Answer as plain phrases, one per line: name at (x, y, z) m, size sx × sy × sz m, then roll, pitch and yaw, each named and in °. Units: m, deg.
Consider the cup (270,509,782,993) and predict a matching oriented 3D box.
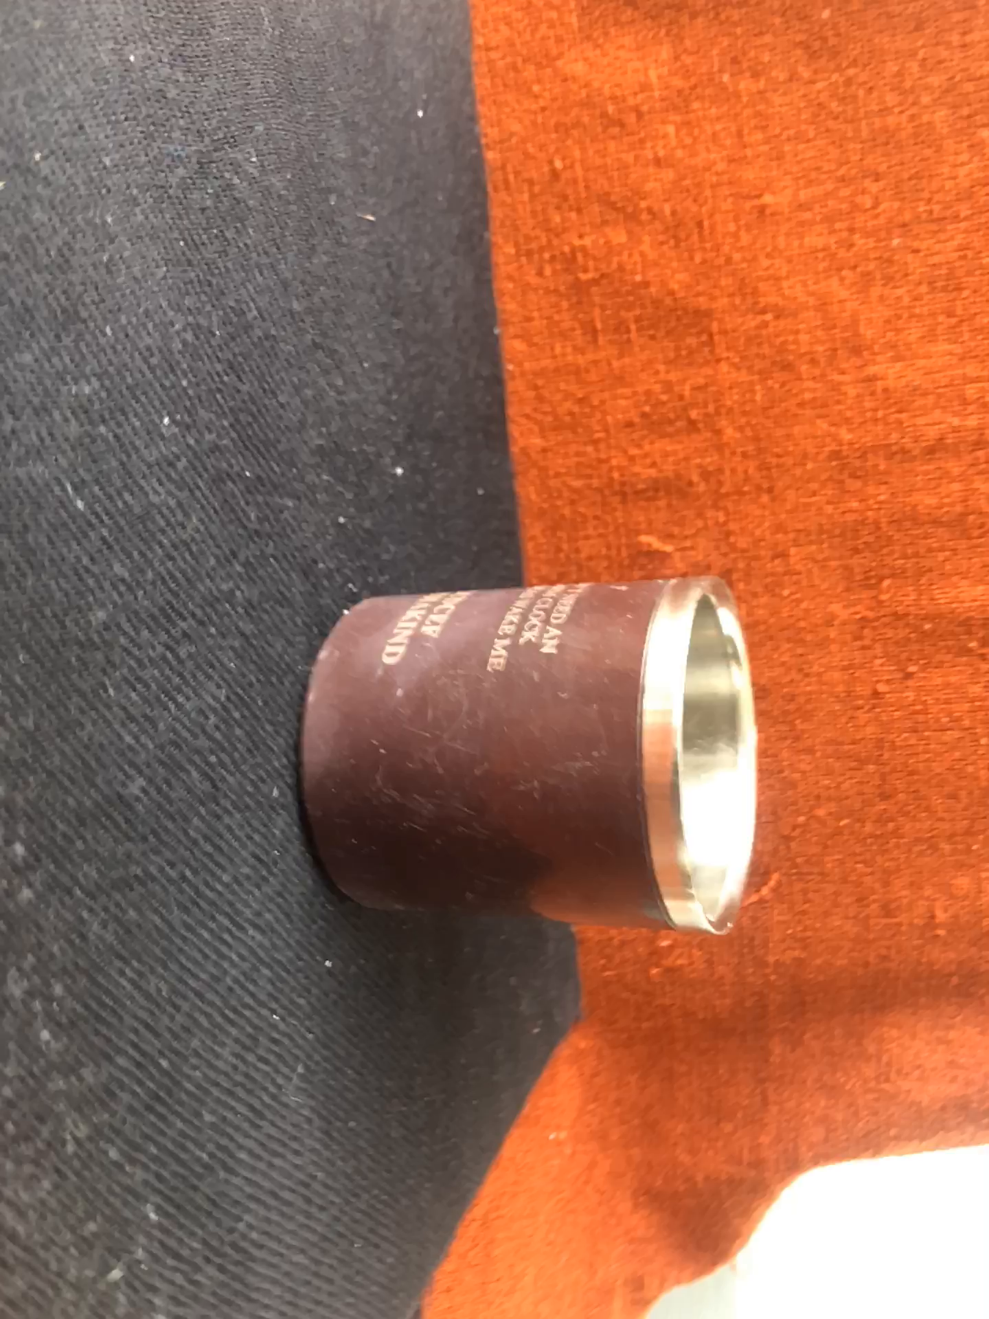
cup at (0.018, 0.014, 0.282) m, size 0.111 × 0.089 × 0.090 m, roll -27°, pitch 114°, yaw -65°
